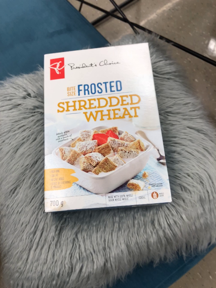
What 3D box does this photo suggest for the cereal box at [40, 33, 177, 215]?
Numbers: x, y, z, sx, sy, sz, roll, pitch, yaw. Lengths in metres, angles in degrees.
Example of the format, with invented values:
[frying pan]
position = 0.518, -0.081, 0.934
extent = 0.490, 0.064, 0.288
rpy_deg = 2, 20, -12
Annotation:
[cereal box]
position = -0.012, -0.044, 0.437
extent = 0.200, 0.070, 0.310
rpy_deg = -5, 71, -2
